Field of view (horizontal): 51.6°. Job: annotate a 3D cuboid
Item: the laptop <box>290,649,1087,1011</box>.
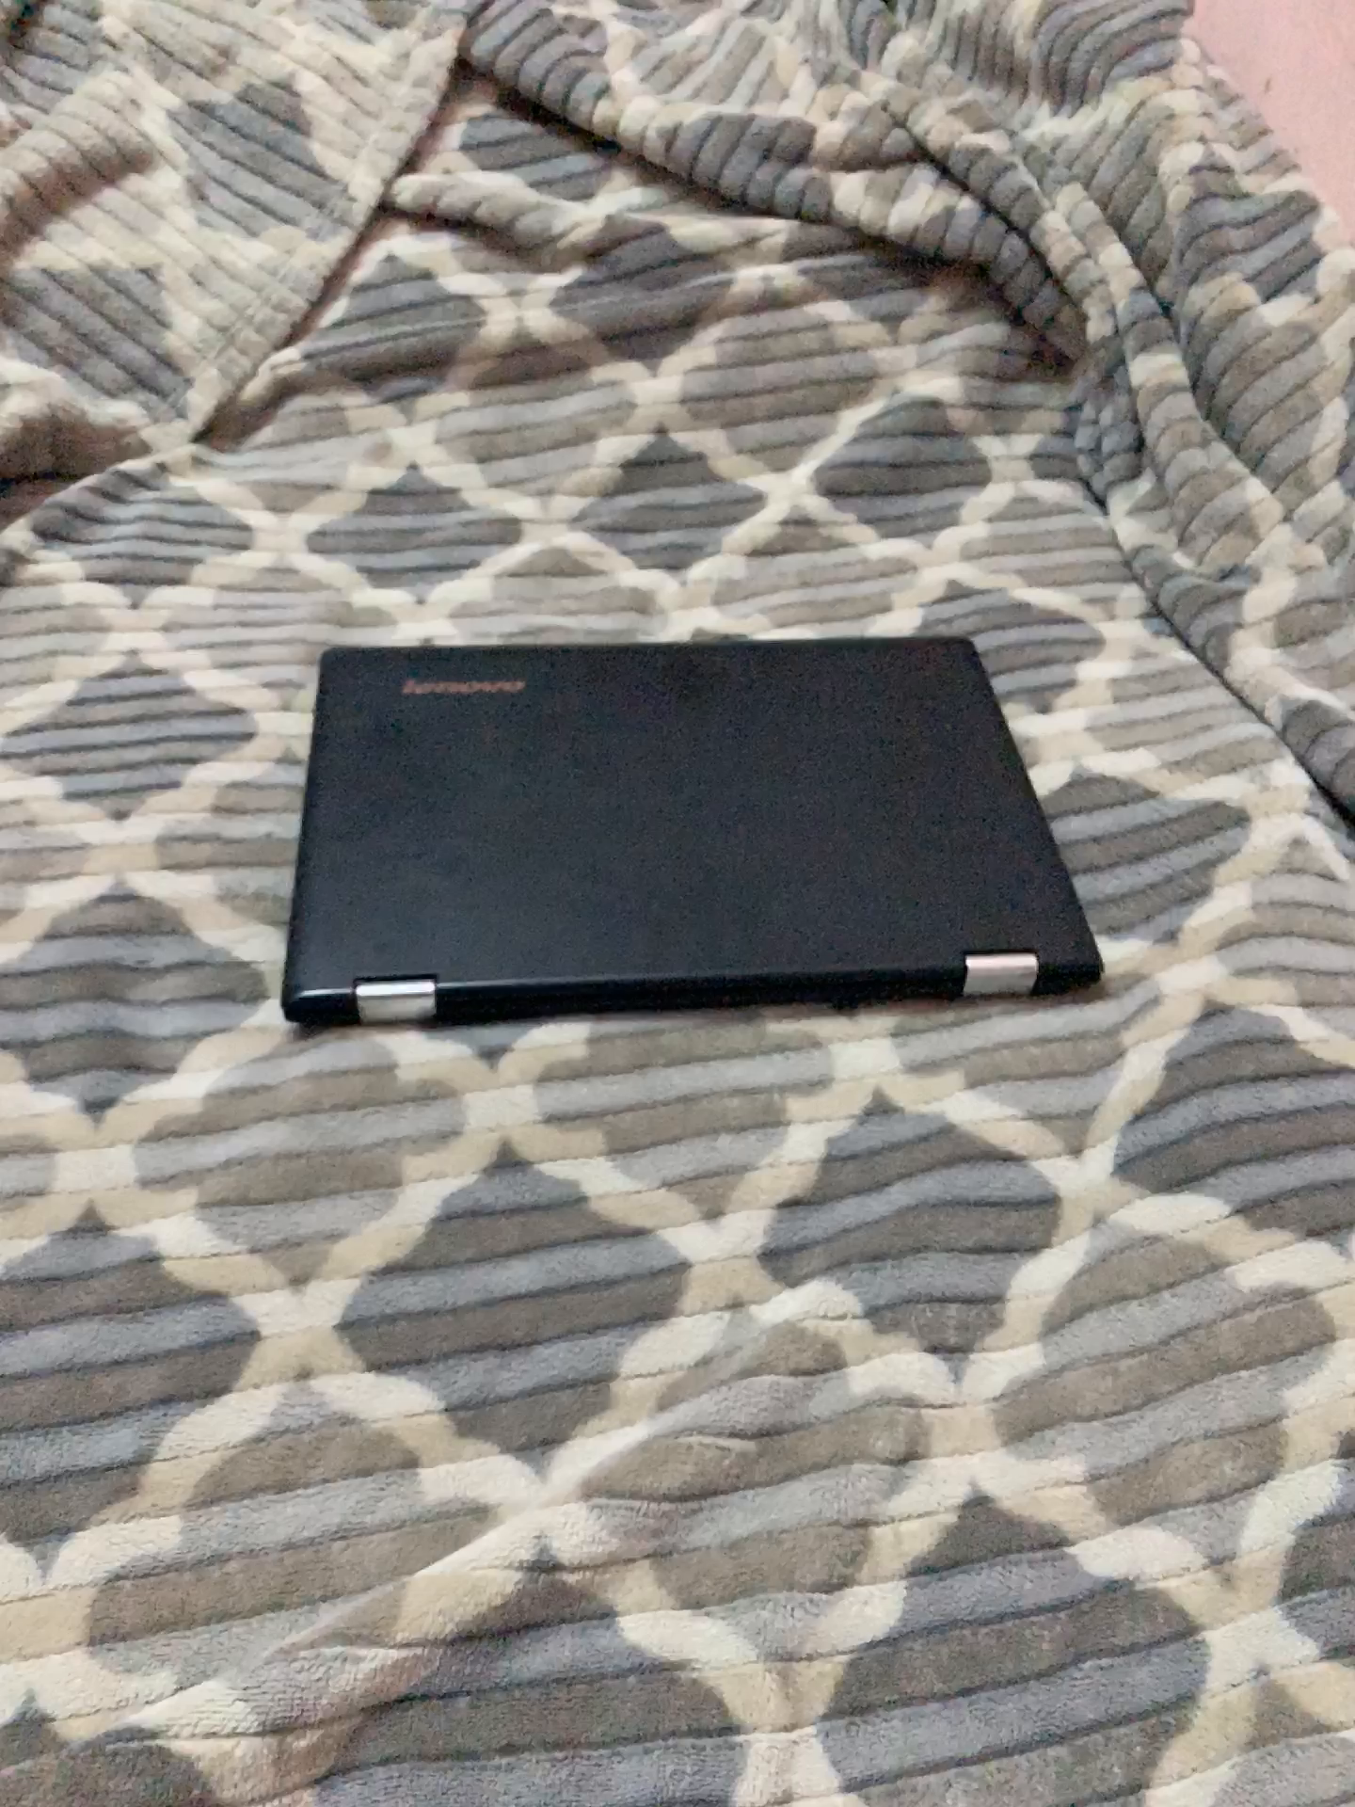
[{"bbox_3d":[0.000,-0.047,0.668,0.338,0.003,0.229,-2,48,-6],"label":"laptop"}]
